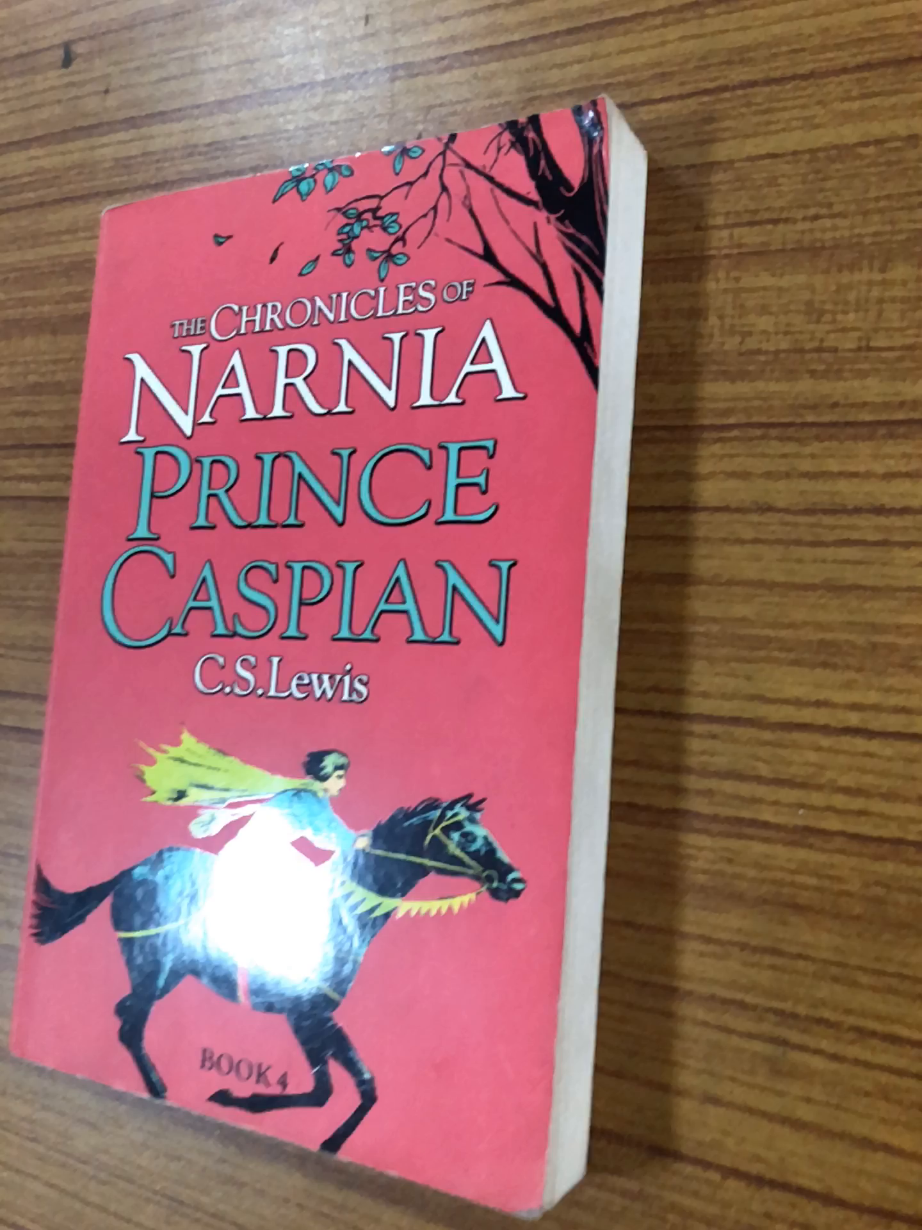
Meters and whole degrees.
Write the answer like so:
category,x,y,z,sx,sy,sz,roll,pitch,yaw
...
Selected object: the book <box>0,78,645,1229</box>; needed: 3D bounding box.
category,x,y,z,sx,sy,sz,roll,pitch,yaw
book,-0.036,0.004,0.209,0.130,0.030,0.190,2,84,27
